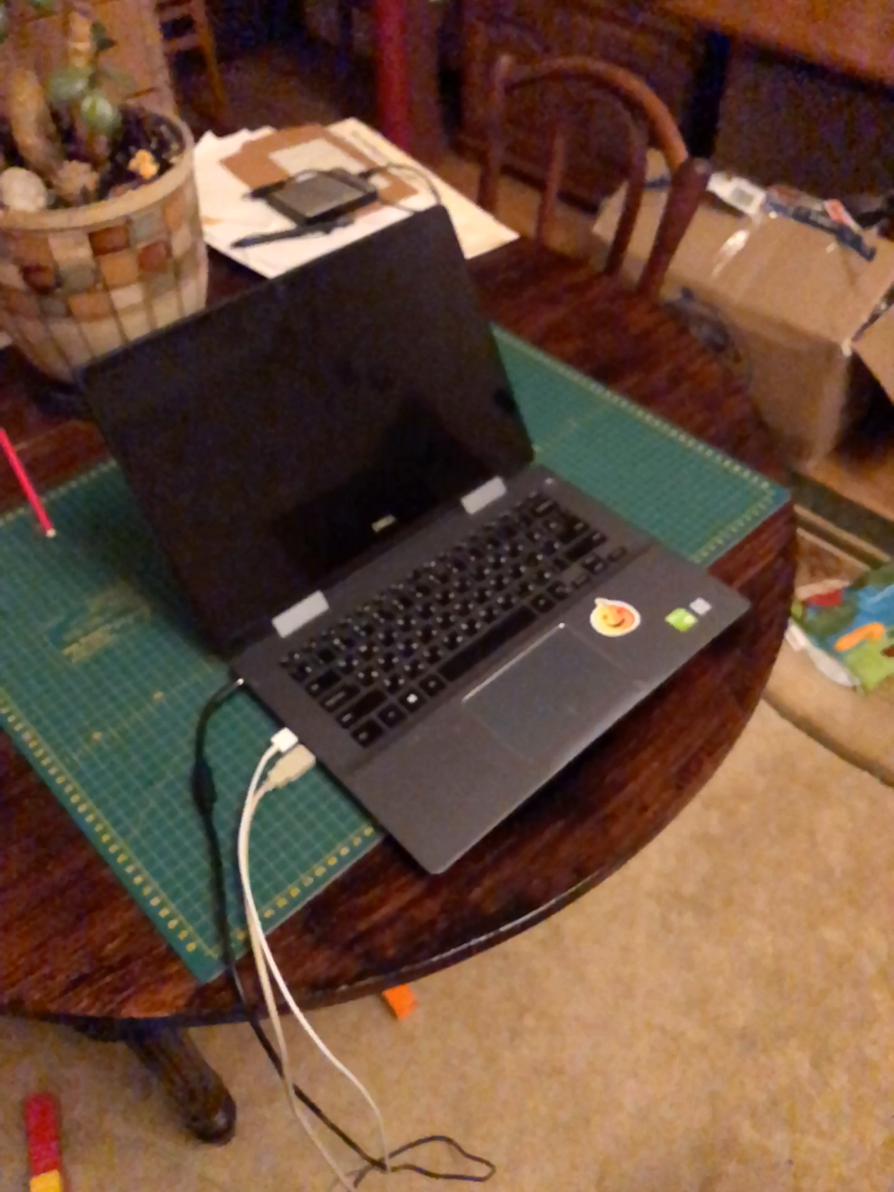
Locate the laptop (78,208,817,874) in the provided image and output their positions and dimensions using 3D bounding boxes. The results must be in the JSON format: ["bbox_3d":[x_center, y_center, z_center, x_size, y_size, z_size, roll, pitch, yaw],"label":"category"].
[{"bbox_3d":[-0.003,-0.066,0.698,0.322,0.192,0.337,-35,57,-26],"label":"laptop"}]
